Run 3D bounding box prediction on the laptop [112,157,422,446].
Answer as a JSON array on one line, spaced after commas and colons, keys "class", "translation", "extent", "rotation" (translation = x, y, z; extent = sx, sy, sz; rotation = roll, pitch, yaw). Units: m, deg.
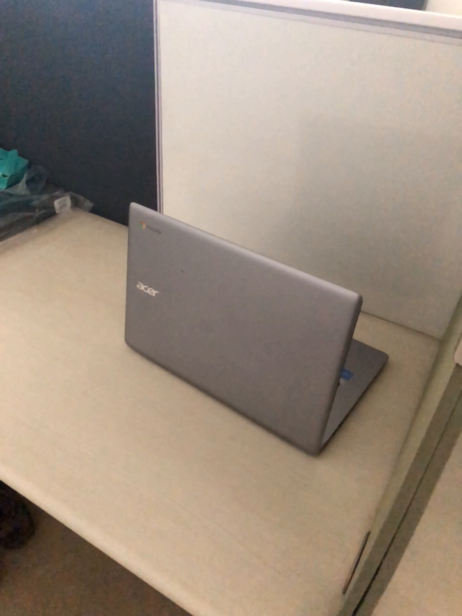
[{"class": "laptop", "translation": [0.043, -0.030, 0.712], "extent": [0.321, 0.218, 0.222], "rotation": [27, 42, 25]}]
